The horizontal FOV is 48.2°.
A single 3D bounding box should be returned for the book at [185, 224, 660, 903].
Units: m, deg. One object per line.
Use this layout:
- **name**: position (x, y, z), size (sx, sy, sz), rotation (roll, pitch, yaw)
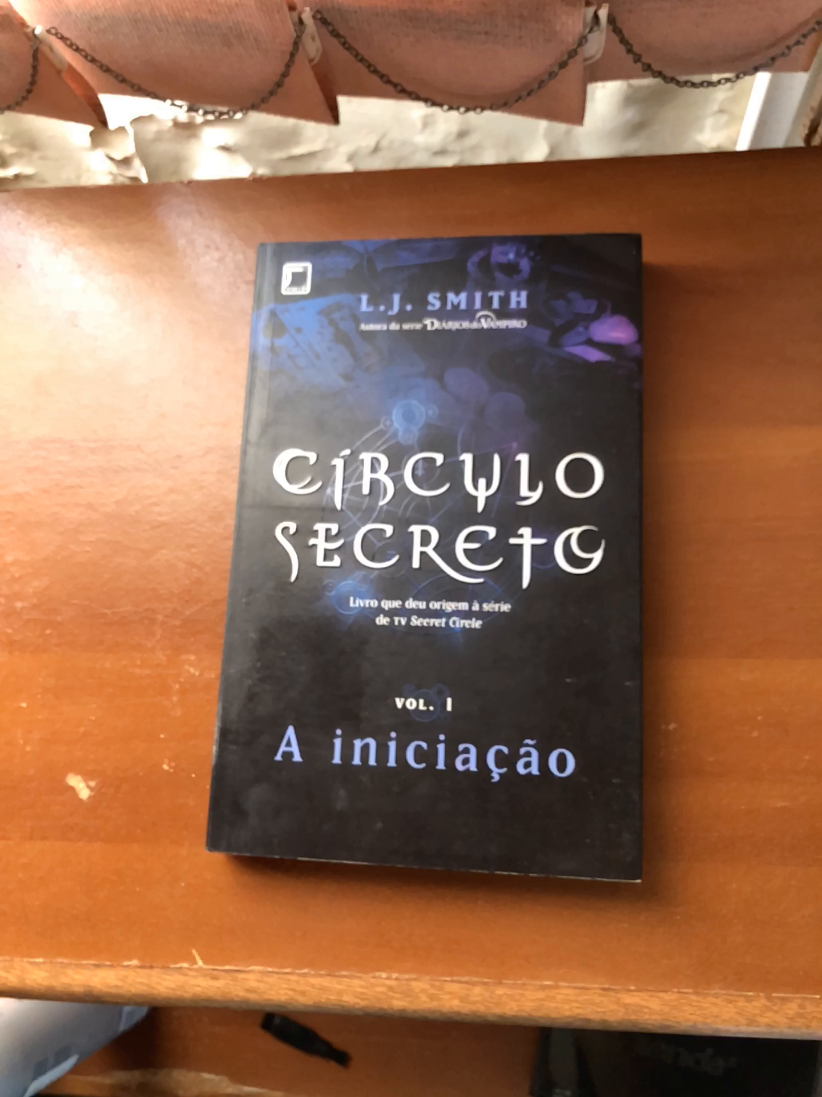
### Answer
- **book**: position (0.007, -0.002, 0.304), size (0.140, 0.024, 0.214), rotation (1, 78, 7)
